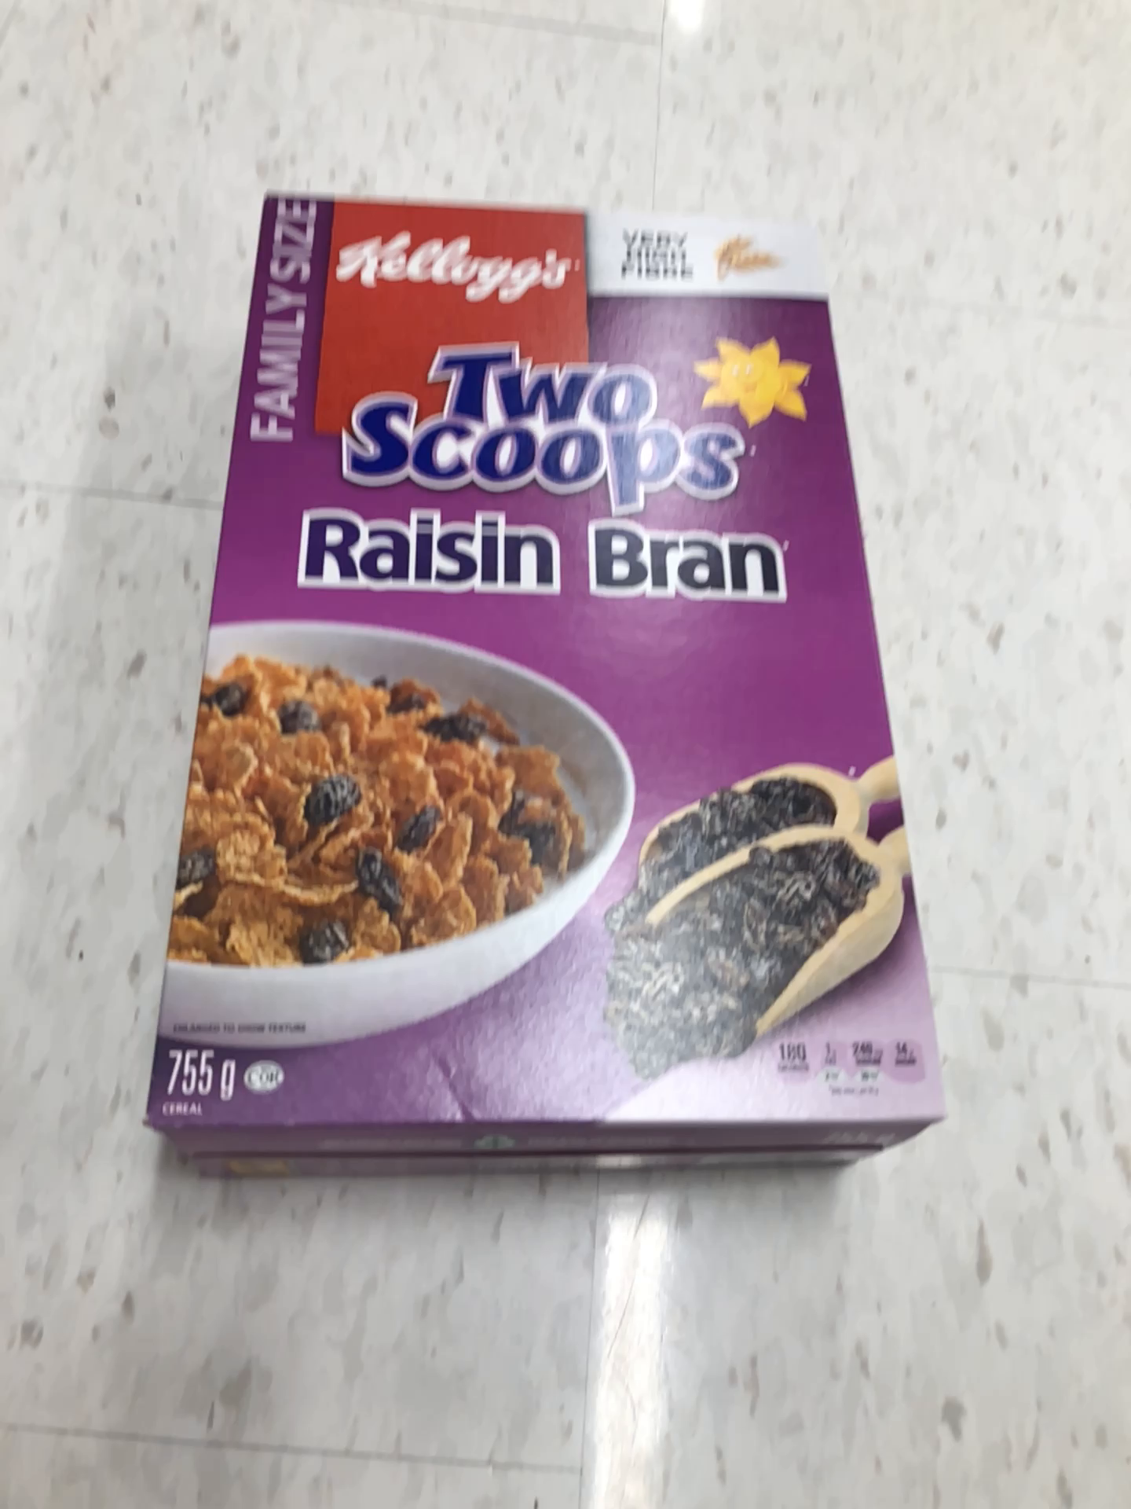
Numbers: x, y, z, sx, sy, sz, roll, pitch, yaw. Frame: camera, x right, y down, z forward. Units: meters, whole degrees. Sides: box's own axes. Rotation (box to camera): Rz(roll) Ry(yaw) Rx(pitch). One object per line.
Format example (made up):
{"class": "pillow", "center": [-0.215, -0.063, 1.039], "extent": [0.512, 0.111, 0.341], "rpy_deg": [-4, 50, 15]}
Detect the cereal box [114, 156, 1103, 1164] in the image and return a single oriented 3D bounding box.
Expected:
{"class": "cereal box", "center": [0.007, -0.039, 0.378], "extent": [0.220, 0.080, 0.301], "rpy_deg": [1, 63, -5]}
